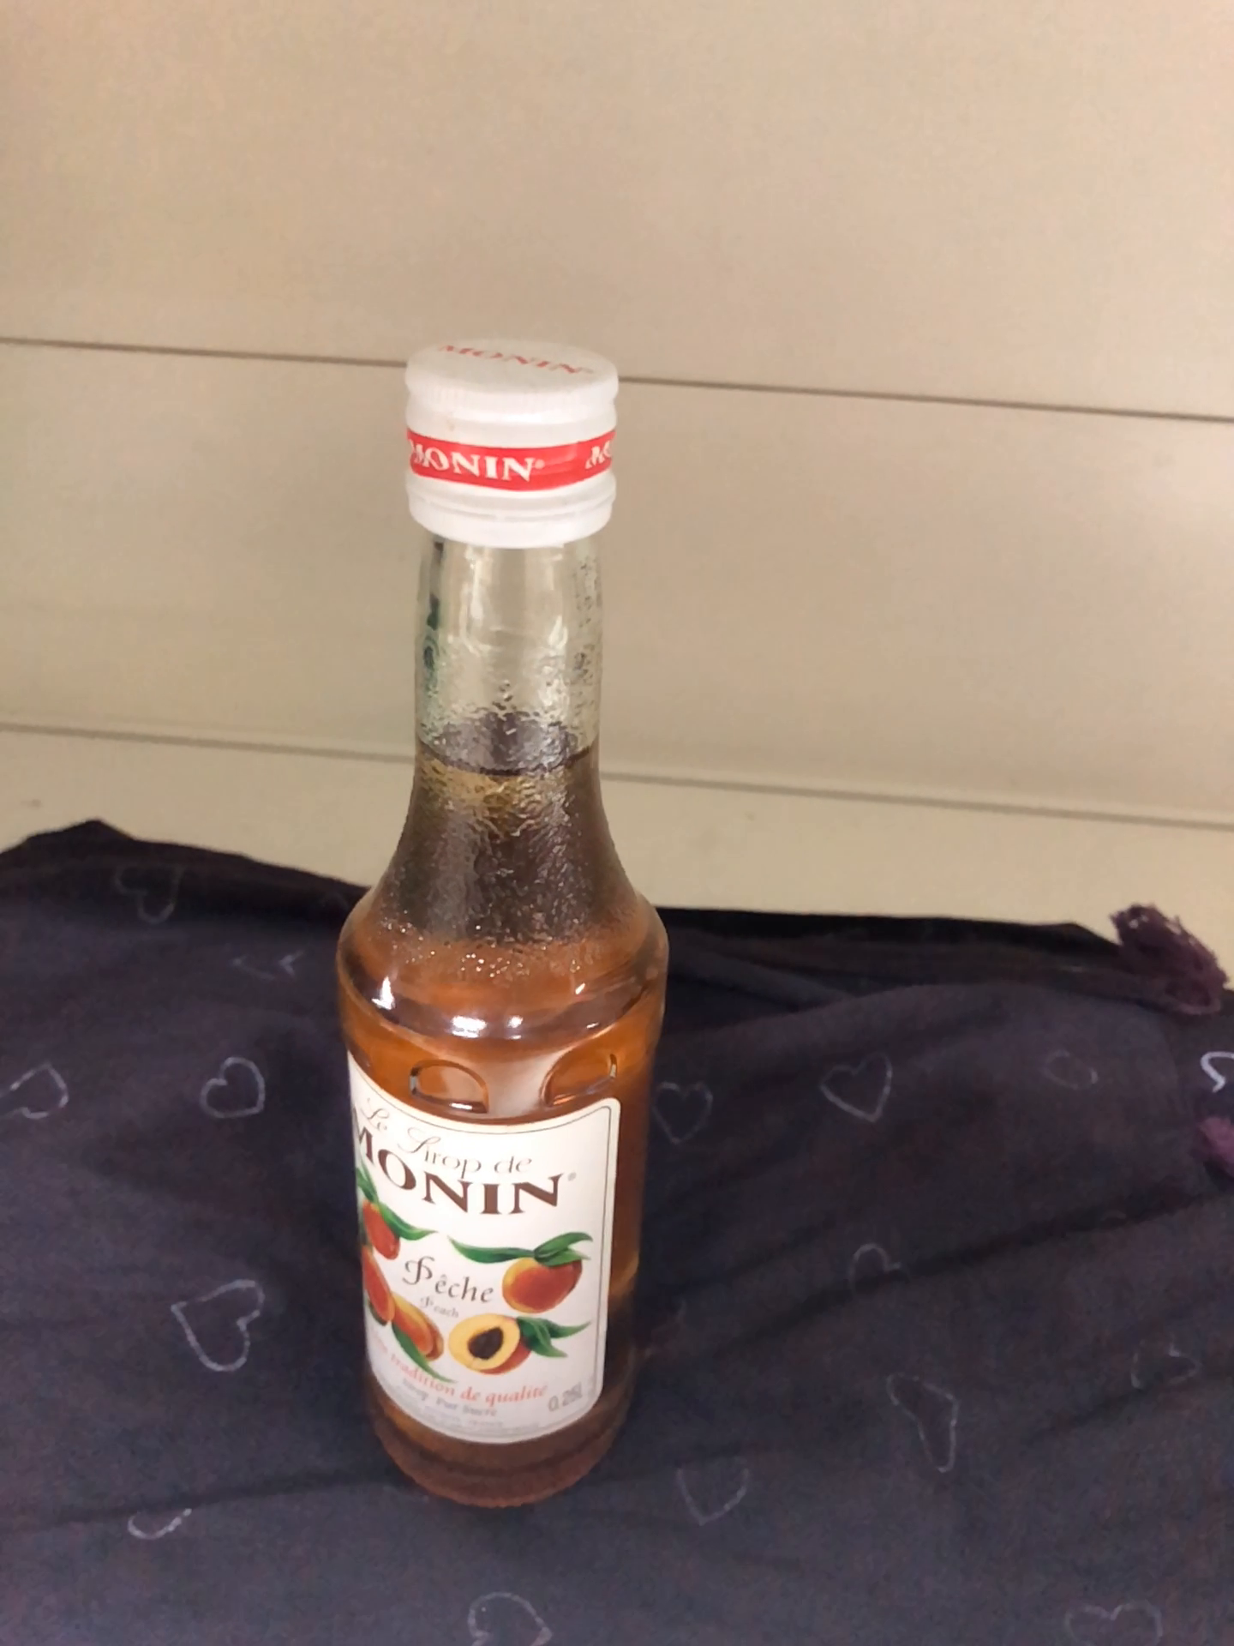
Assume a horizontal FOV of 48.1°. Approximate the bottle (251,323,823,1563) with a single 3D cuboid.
[{"bbox_3d":[-0.013,0.028,0.246,0.060,0.209,0.060,2,29,-1],"label":"bottle"}]
